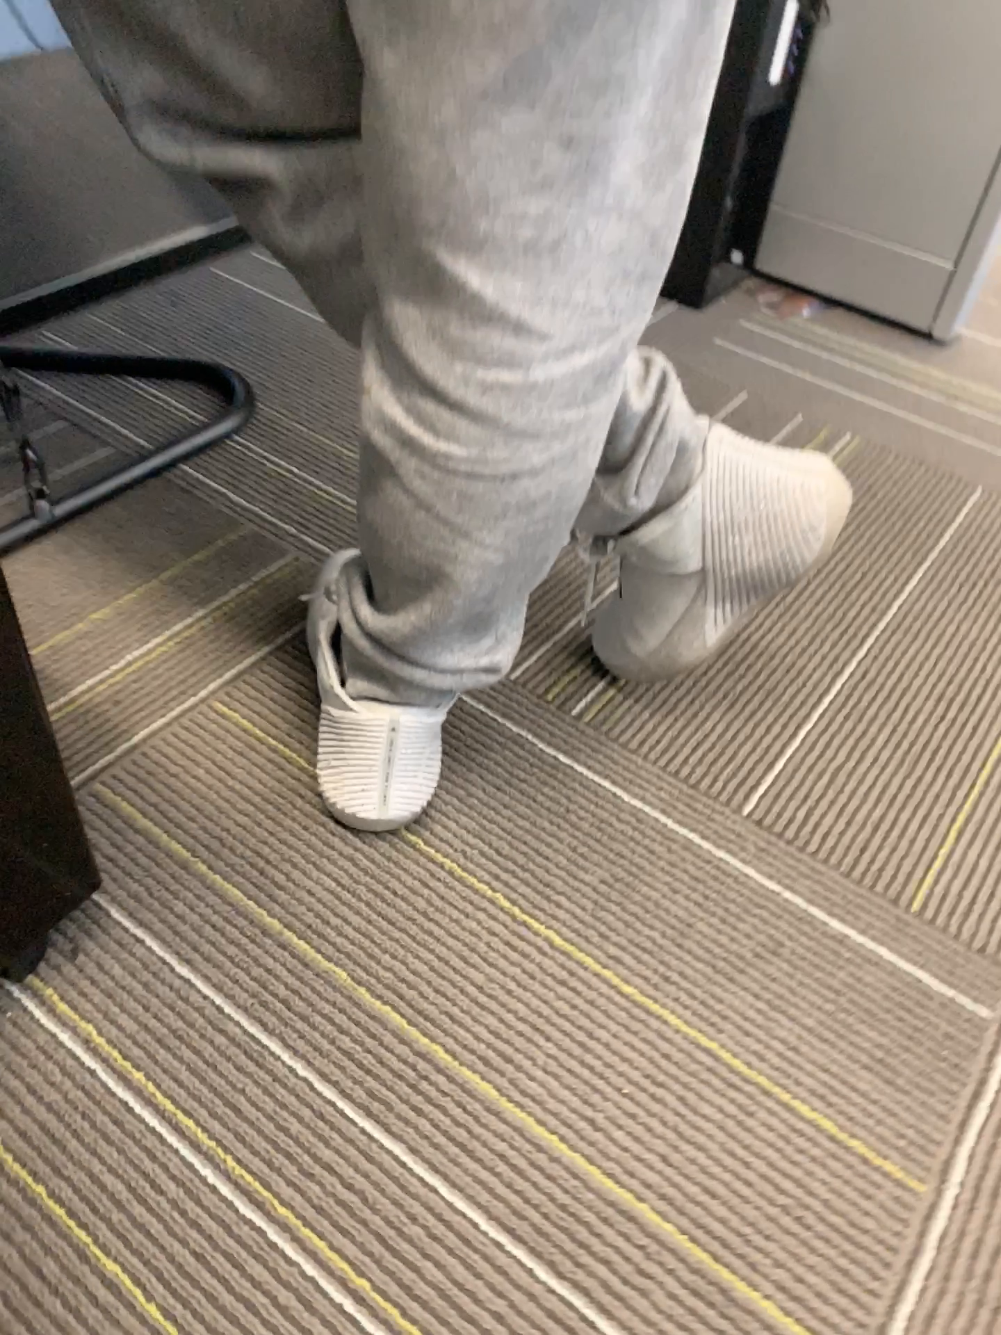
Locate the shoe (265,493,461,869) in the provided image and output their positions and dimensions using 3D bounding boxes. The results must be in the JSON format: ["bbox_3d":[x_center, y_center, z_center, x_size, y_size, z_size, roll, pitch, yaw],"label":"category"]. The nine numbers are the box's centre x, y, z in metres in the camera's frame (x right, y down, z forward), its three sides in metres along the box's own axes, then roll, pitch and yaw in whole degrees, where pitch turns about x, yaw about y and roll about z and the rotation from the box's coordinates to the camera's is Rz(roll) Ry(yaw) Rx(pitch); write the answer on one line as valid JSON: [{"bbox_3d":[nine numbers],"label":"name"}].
[{"bbox_3d":[-0.111,0.002,0.838,0.130,0.149,0.282,0,44,-7],"label":"shoe"}]

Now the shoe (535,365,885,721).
[{"bbox_3d":[0.153,-0.081,0.809,0.120,0.279,0.121,27,59,-10],"label":"shoe"}]
